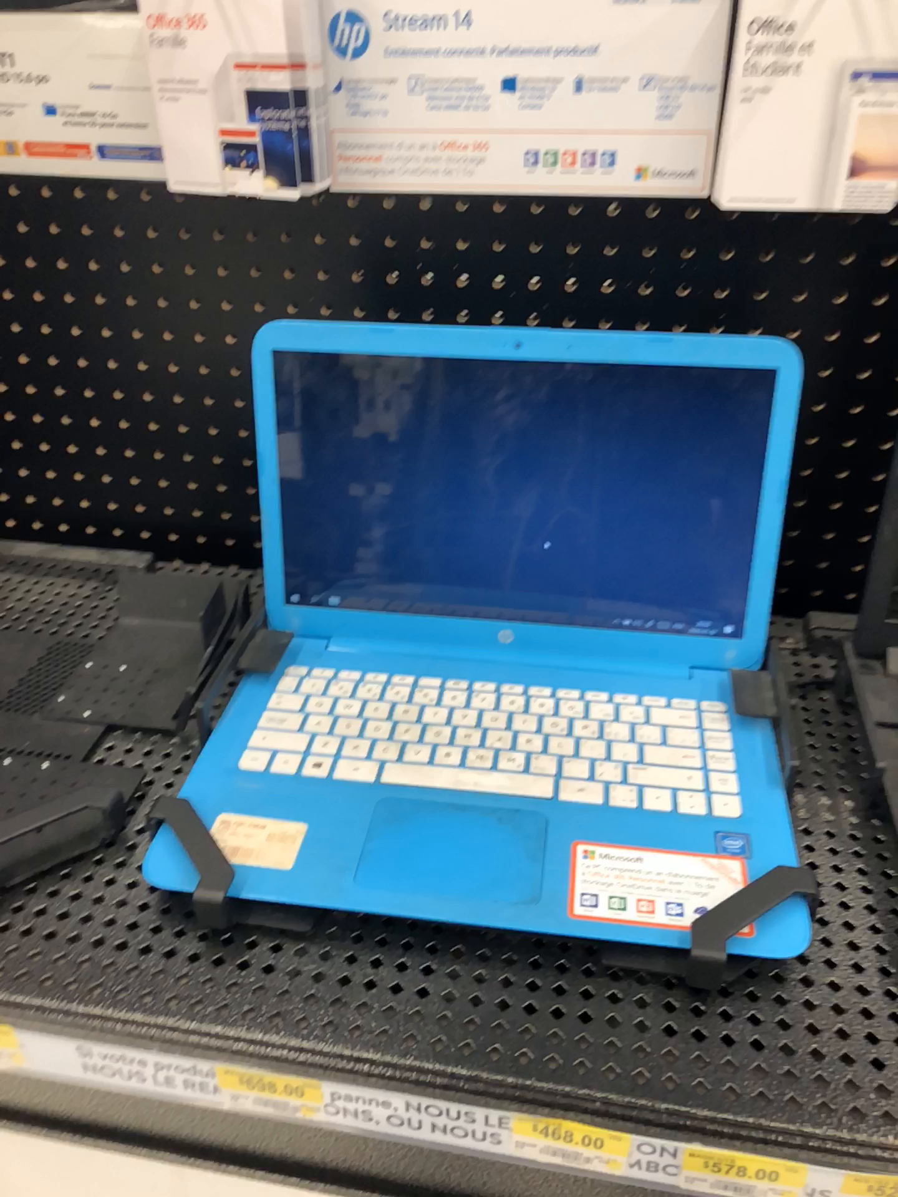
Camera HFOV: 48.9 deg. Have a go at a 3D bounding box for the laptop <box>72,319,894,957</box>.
[{"bbox_3d":[0.022,-0.006,0.541,0.319,0.197,0.270,4,33,9],"label":"laptop"}]
